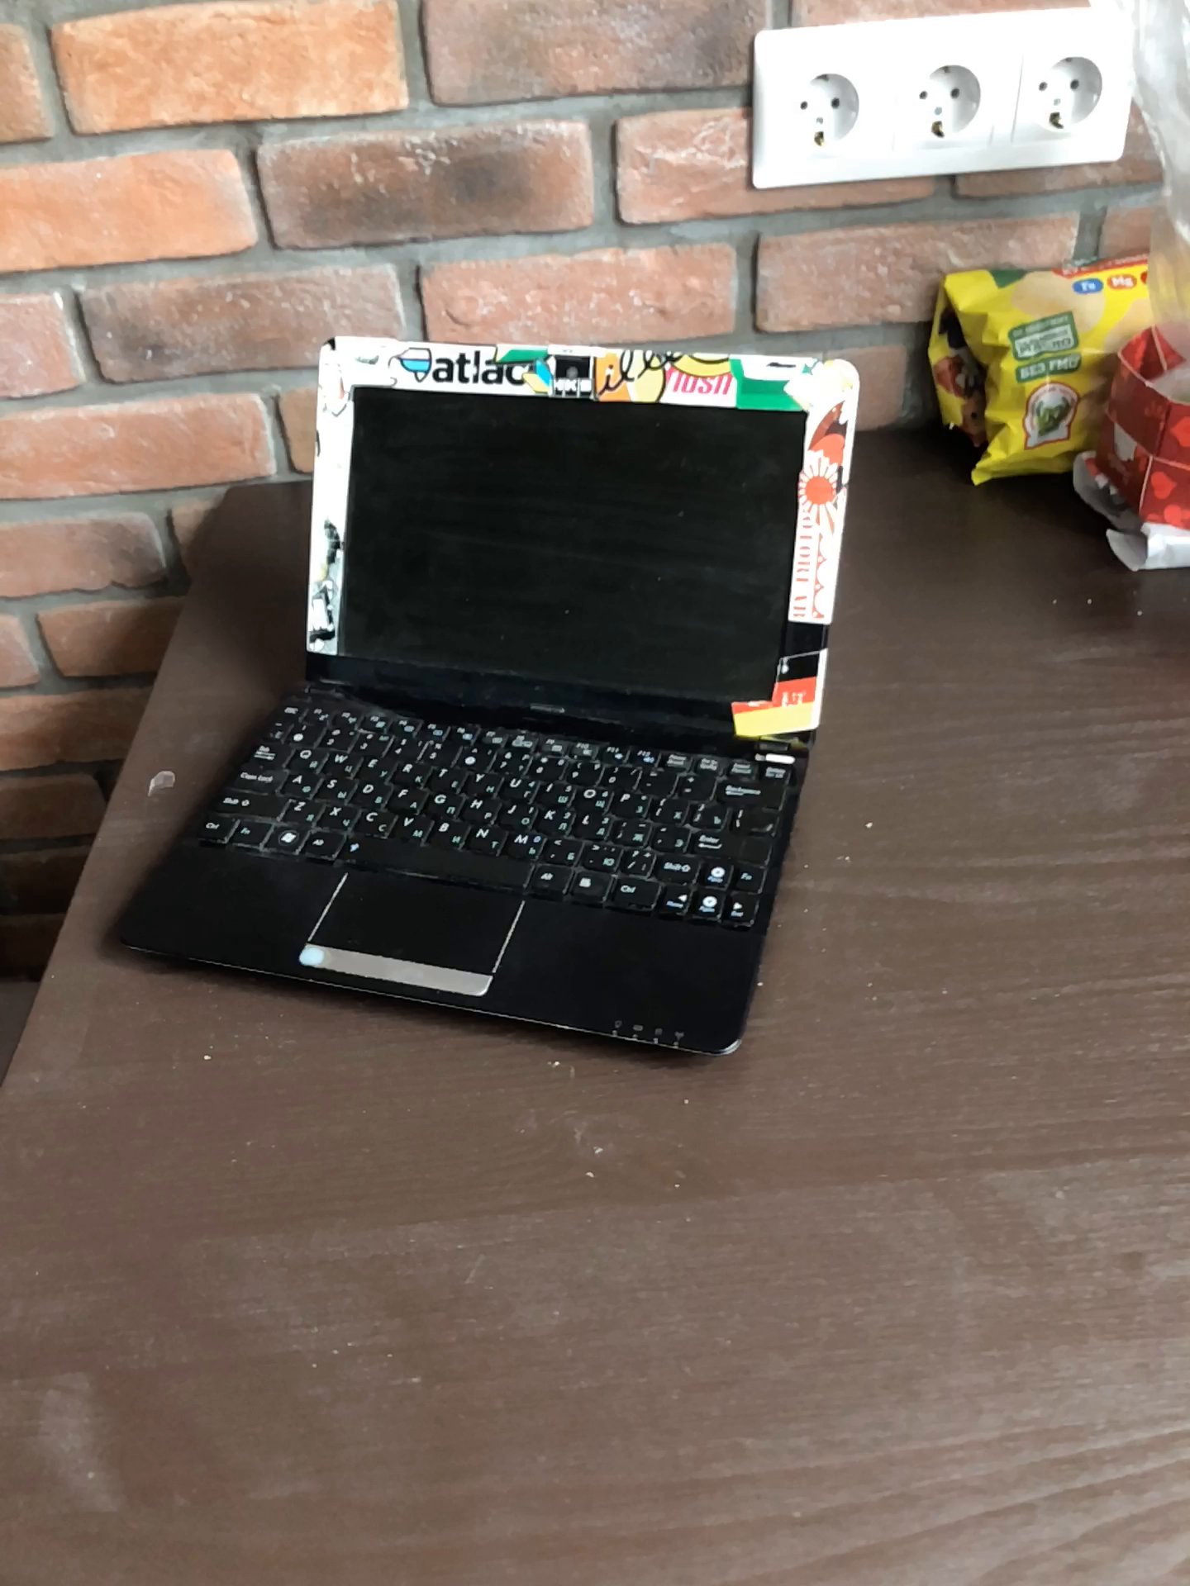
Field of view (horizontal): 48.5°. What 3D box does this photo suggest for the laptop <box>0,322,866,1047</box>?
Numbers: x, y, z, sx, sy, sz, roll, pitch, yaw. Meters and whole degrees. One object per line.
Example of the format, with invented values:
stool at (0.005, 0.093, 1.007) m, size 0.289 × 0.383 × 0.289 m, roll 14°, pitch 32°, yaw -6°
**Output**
laptop at (-0.043, -0.069, 0.548) m, size 0.257 × 0.140 × 0.269 m, roll 8°, pitch 42°, yaw 16°
